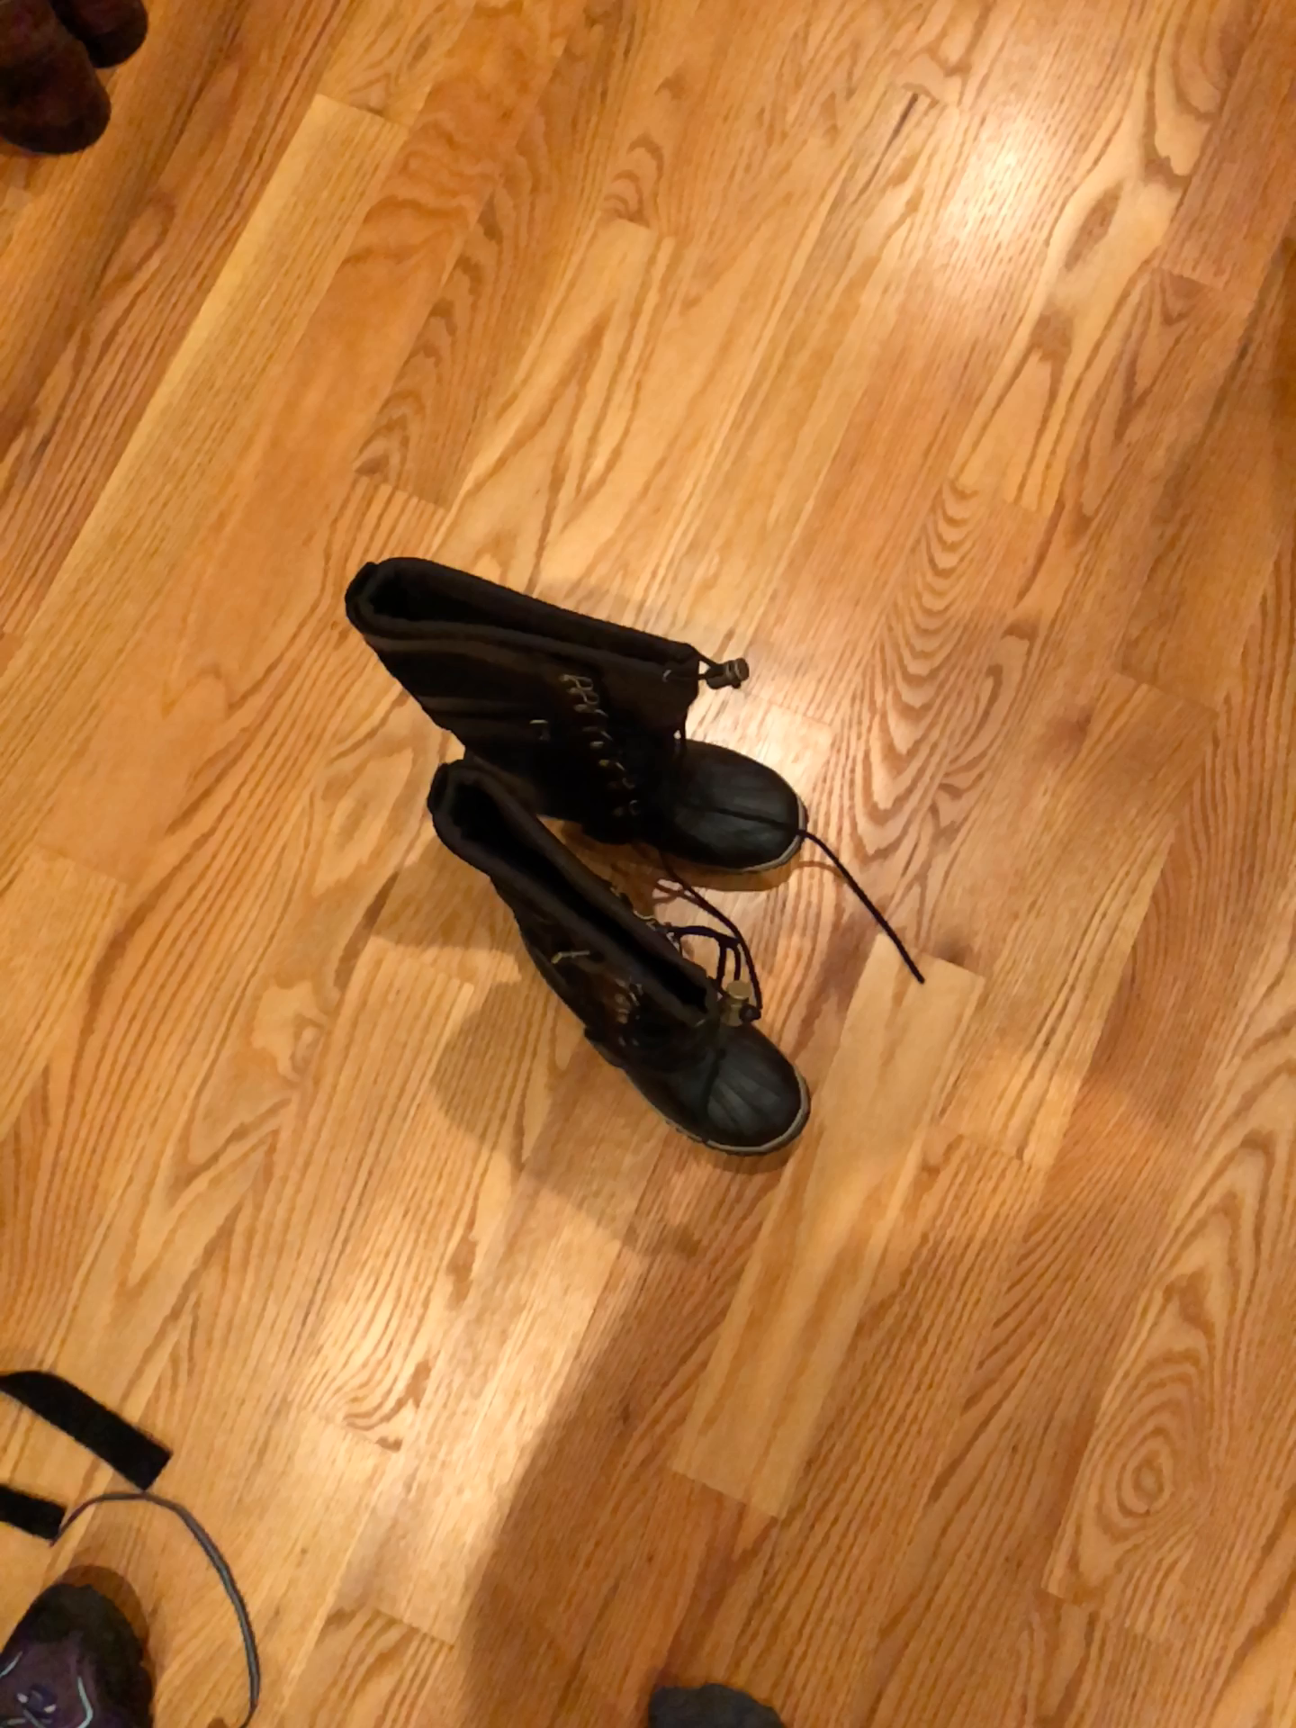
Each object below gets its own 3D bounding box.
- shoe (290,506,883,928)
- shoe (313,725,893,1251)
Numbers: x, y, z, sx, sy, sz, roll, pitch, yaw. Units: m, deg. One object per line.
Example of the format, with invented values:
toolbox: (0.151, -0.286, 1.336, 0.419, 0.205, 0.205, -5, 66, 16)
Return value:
shoe: (-0.026, -0.064, 0.820, 0.260, 0.330, 0.100, 11, 79, 3)
shoe: (-0.020, 0.083, 0.800, 0.260, 0.310, 0.100, 38, 81, 8)
